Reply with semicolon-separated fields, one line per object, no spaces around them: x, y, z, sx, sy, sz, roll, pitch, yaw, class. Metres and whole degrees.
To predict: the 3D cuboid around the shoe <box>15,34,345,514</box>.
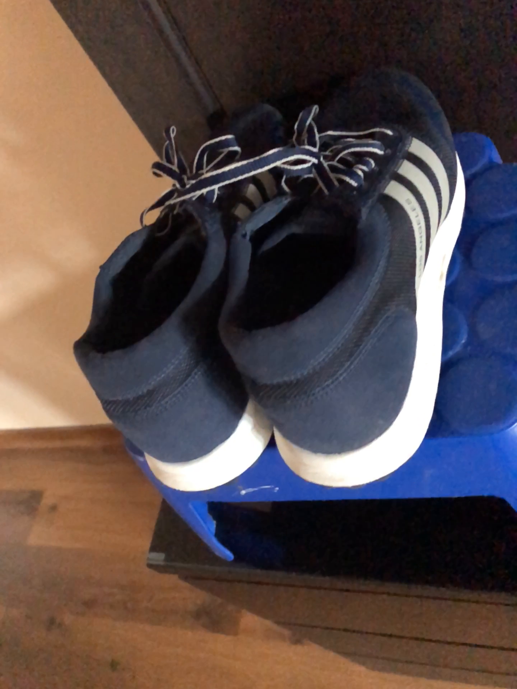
-0.021;-0.047;0.344;0.110;0.109;0.261;-10;52;24;shoe

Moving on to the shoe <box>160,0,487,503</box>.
0.052;-0.060;0.317;0.110;0.109;0.261;-7;53;25;shoe
